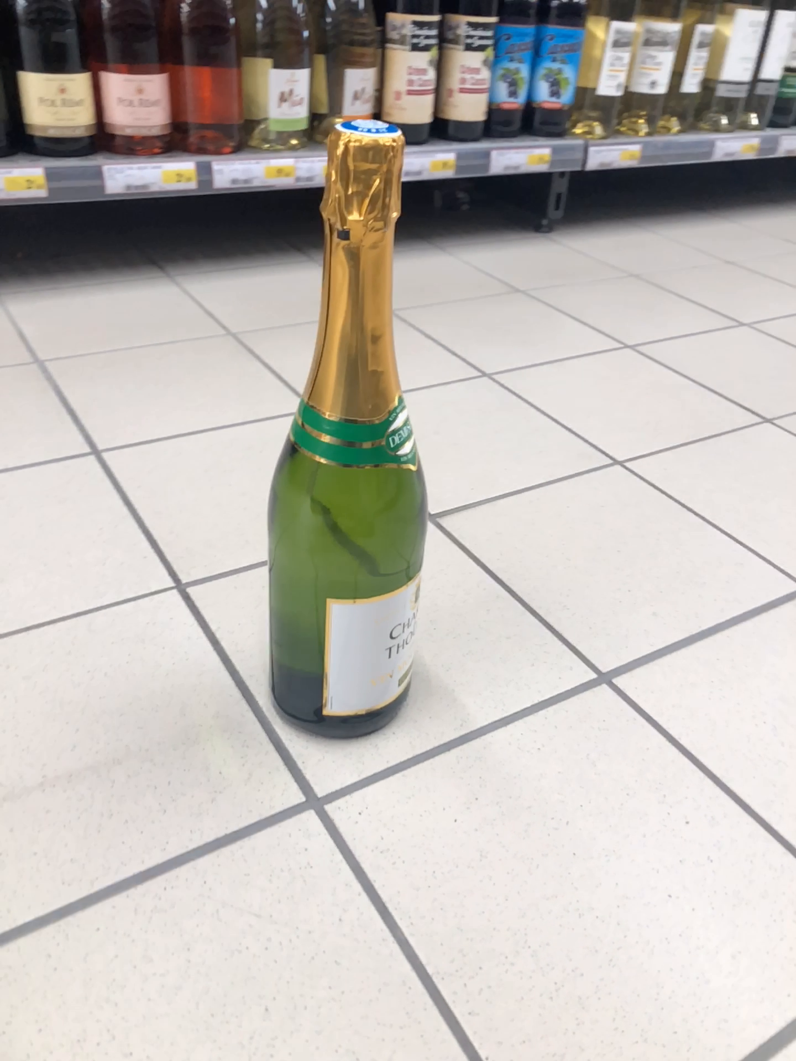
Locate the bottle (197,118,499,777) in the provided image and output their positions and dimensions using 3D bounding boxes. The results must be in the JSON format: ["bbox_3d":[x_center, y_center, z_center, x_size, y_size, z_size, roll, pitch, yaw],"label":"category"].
[{"bbox_3d":[-0.027,-0.029,0.430,0.090,0.298,0.091,4,32,-2],"label":"bottle"}]
